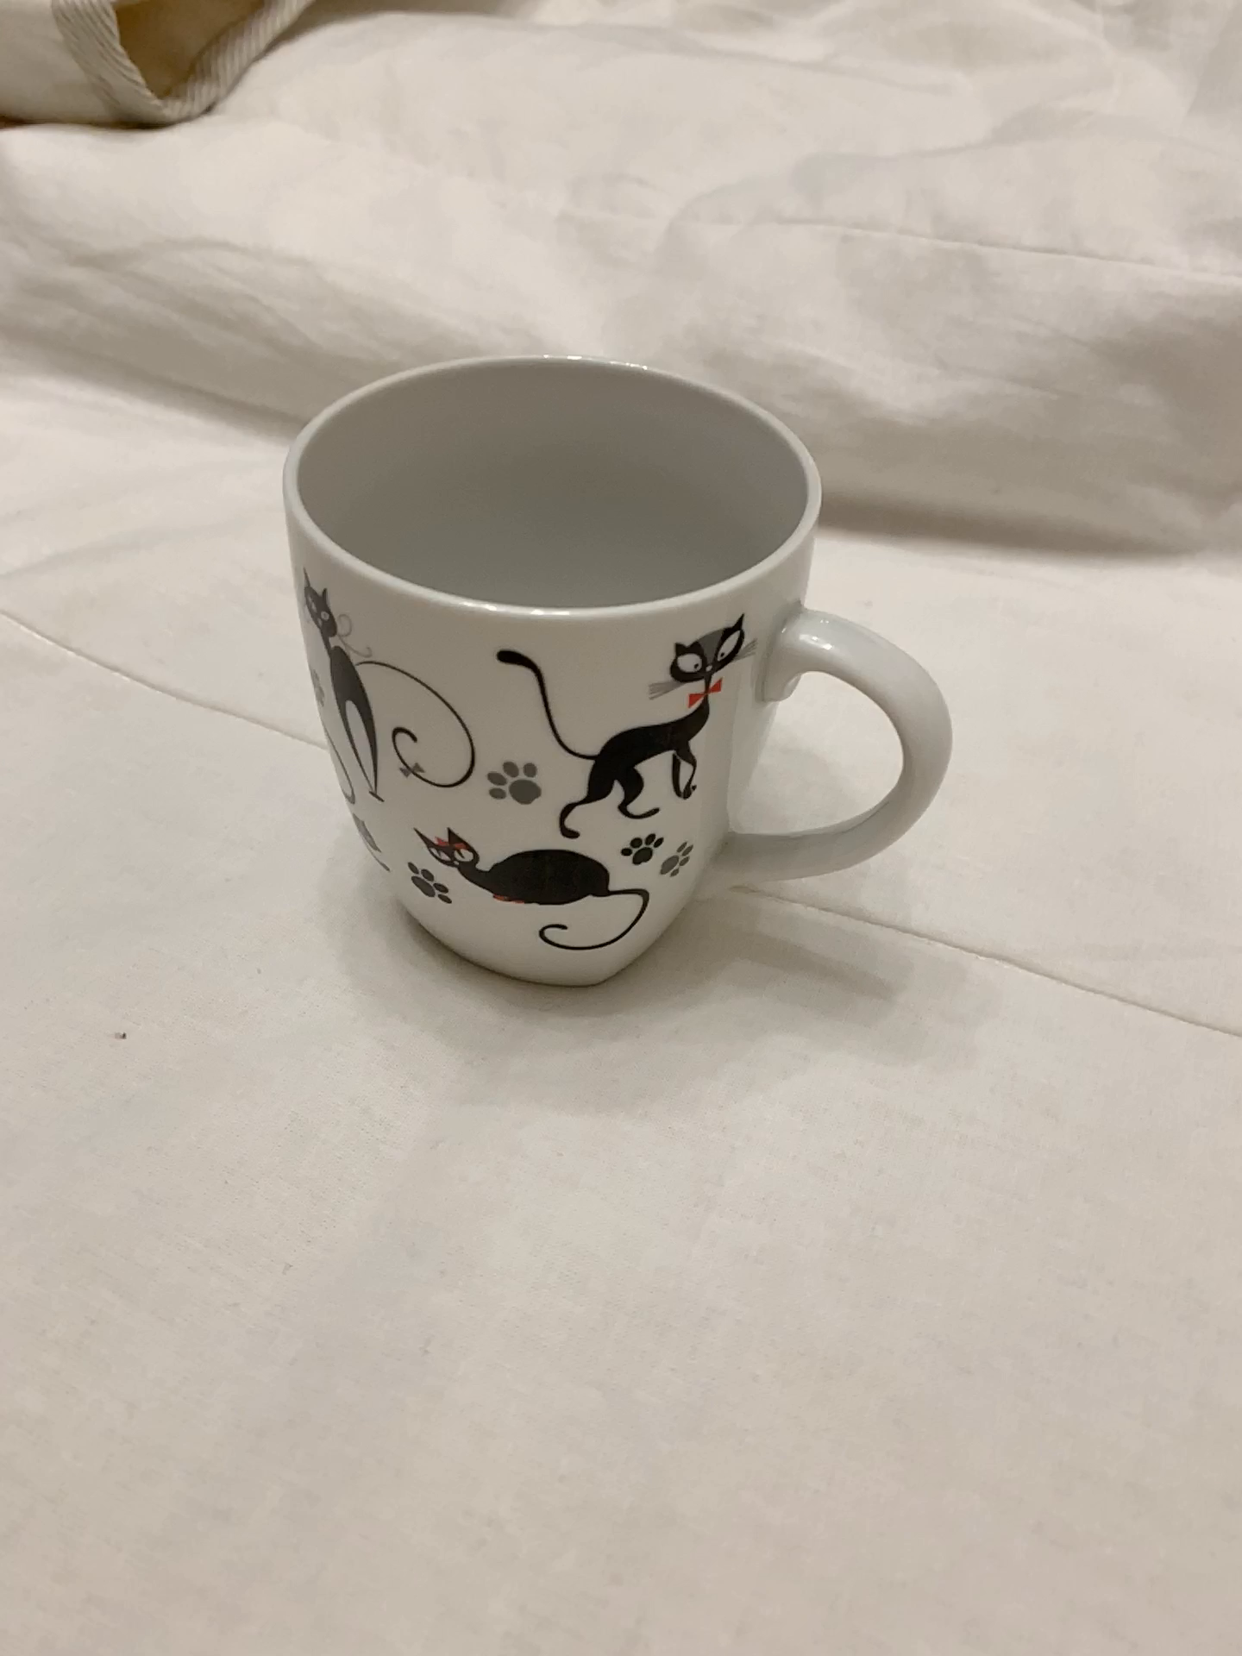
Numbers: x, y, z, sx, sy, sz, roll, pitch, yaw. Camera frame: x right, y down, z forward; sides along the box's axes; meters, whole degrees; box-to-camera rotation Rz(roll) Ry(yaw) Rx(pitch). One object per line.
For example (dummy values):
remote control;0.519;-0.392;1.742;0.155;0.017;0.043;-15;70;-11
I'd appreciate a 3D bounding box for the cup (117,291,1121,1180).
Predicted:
cup;0.000;-0.023;0.210;0.119;0.077;0.081;25;49;25
